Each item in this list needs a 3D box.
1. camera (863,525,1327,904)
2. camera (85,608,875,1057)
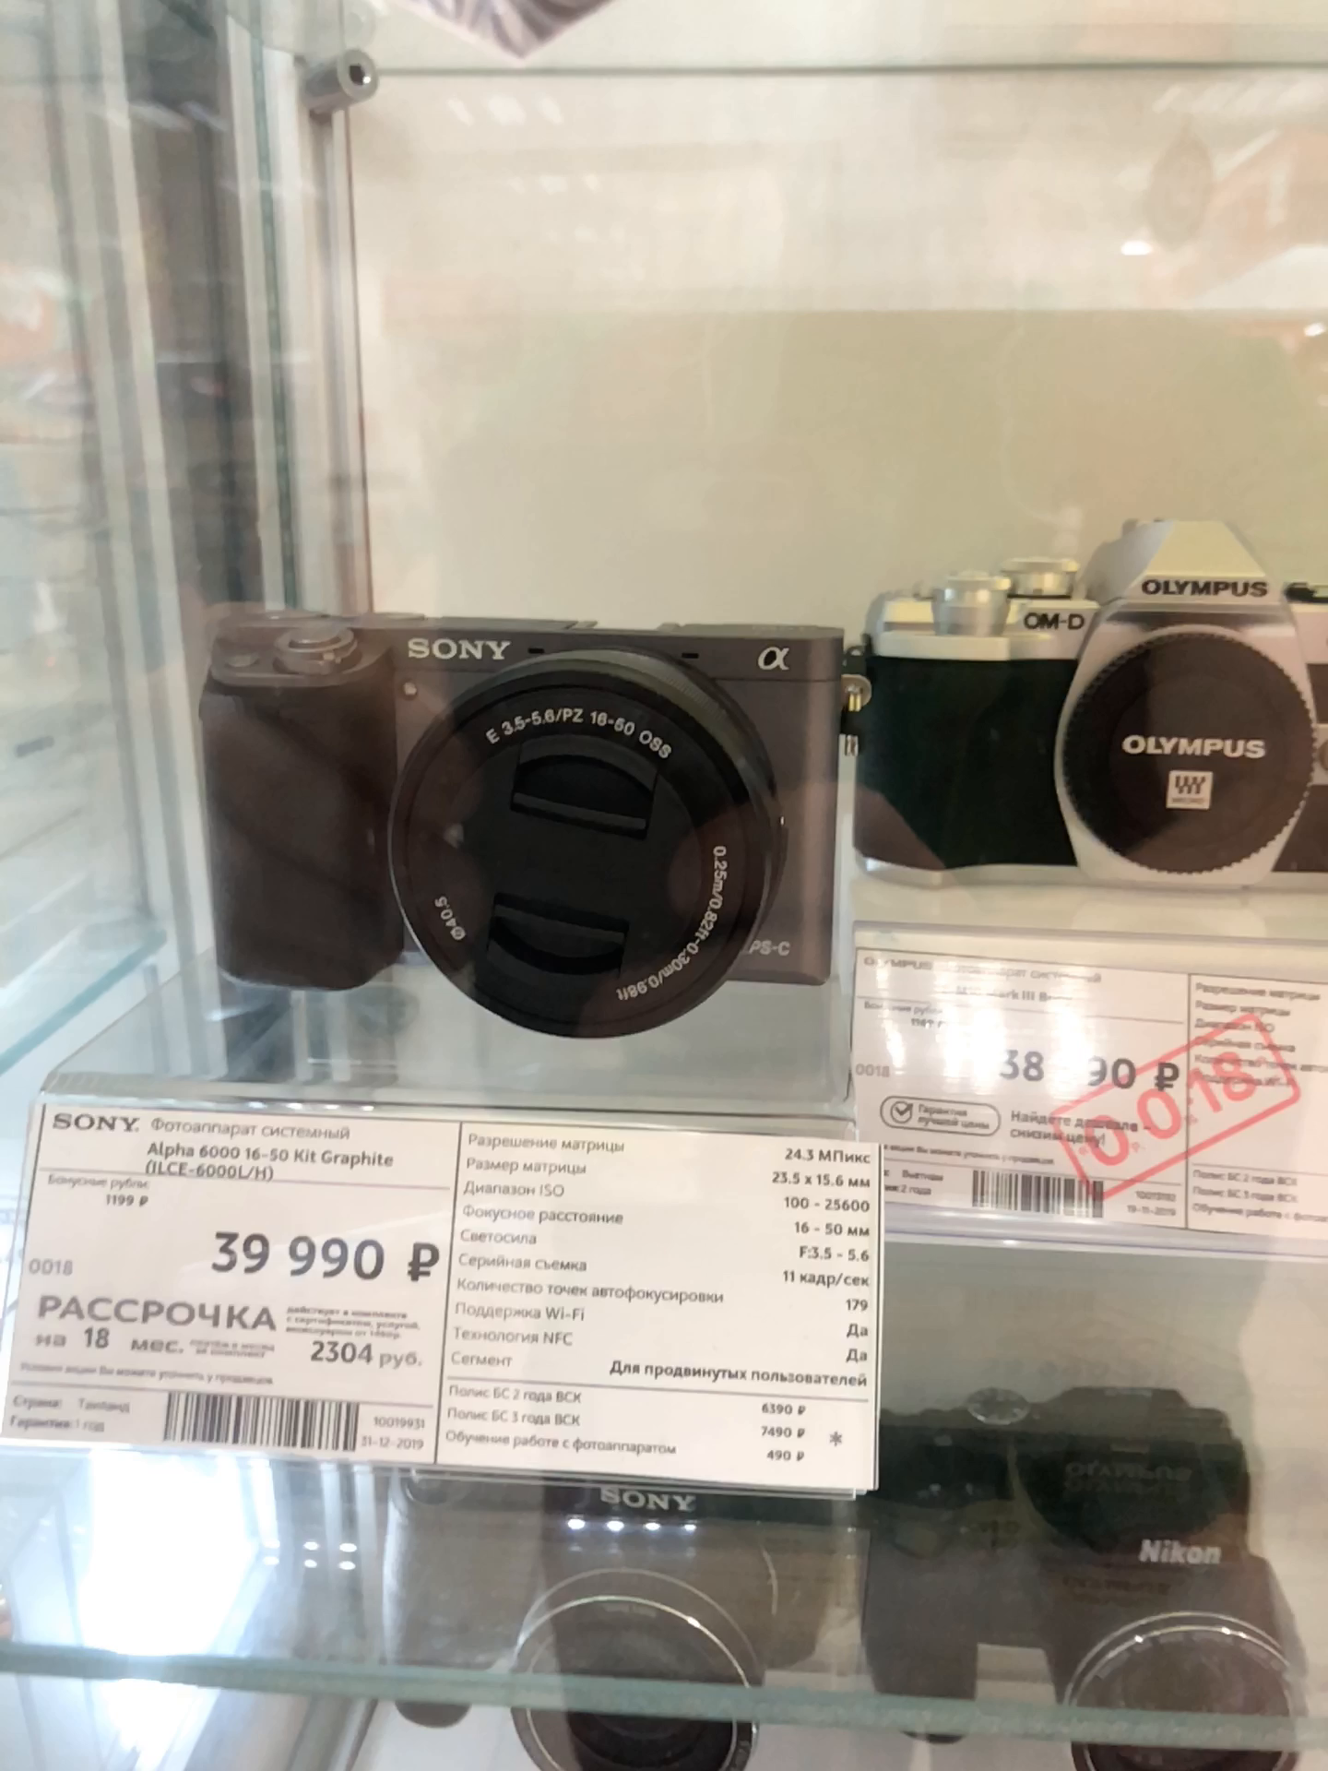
[{"bbox_3d":[0.113,-0.047,0.369,0.122,0.081,0.087,1,14,6],"label":"camera"},{"bbox_3d":[-0.028,-0.014,0.278,0.130,0.070,0.066,1,14,6],"label":"camera"}]
